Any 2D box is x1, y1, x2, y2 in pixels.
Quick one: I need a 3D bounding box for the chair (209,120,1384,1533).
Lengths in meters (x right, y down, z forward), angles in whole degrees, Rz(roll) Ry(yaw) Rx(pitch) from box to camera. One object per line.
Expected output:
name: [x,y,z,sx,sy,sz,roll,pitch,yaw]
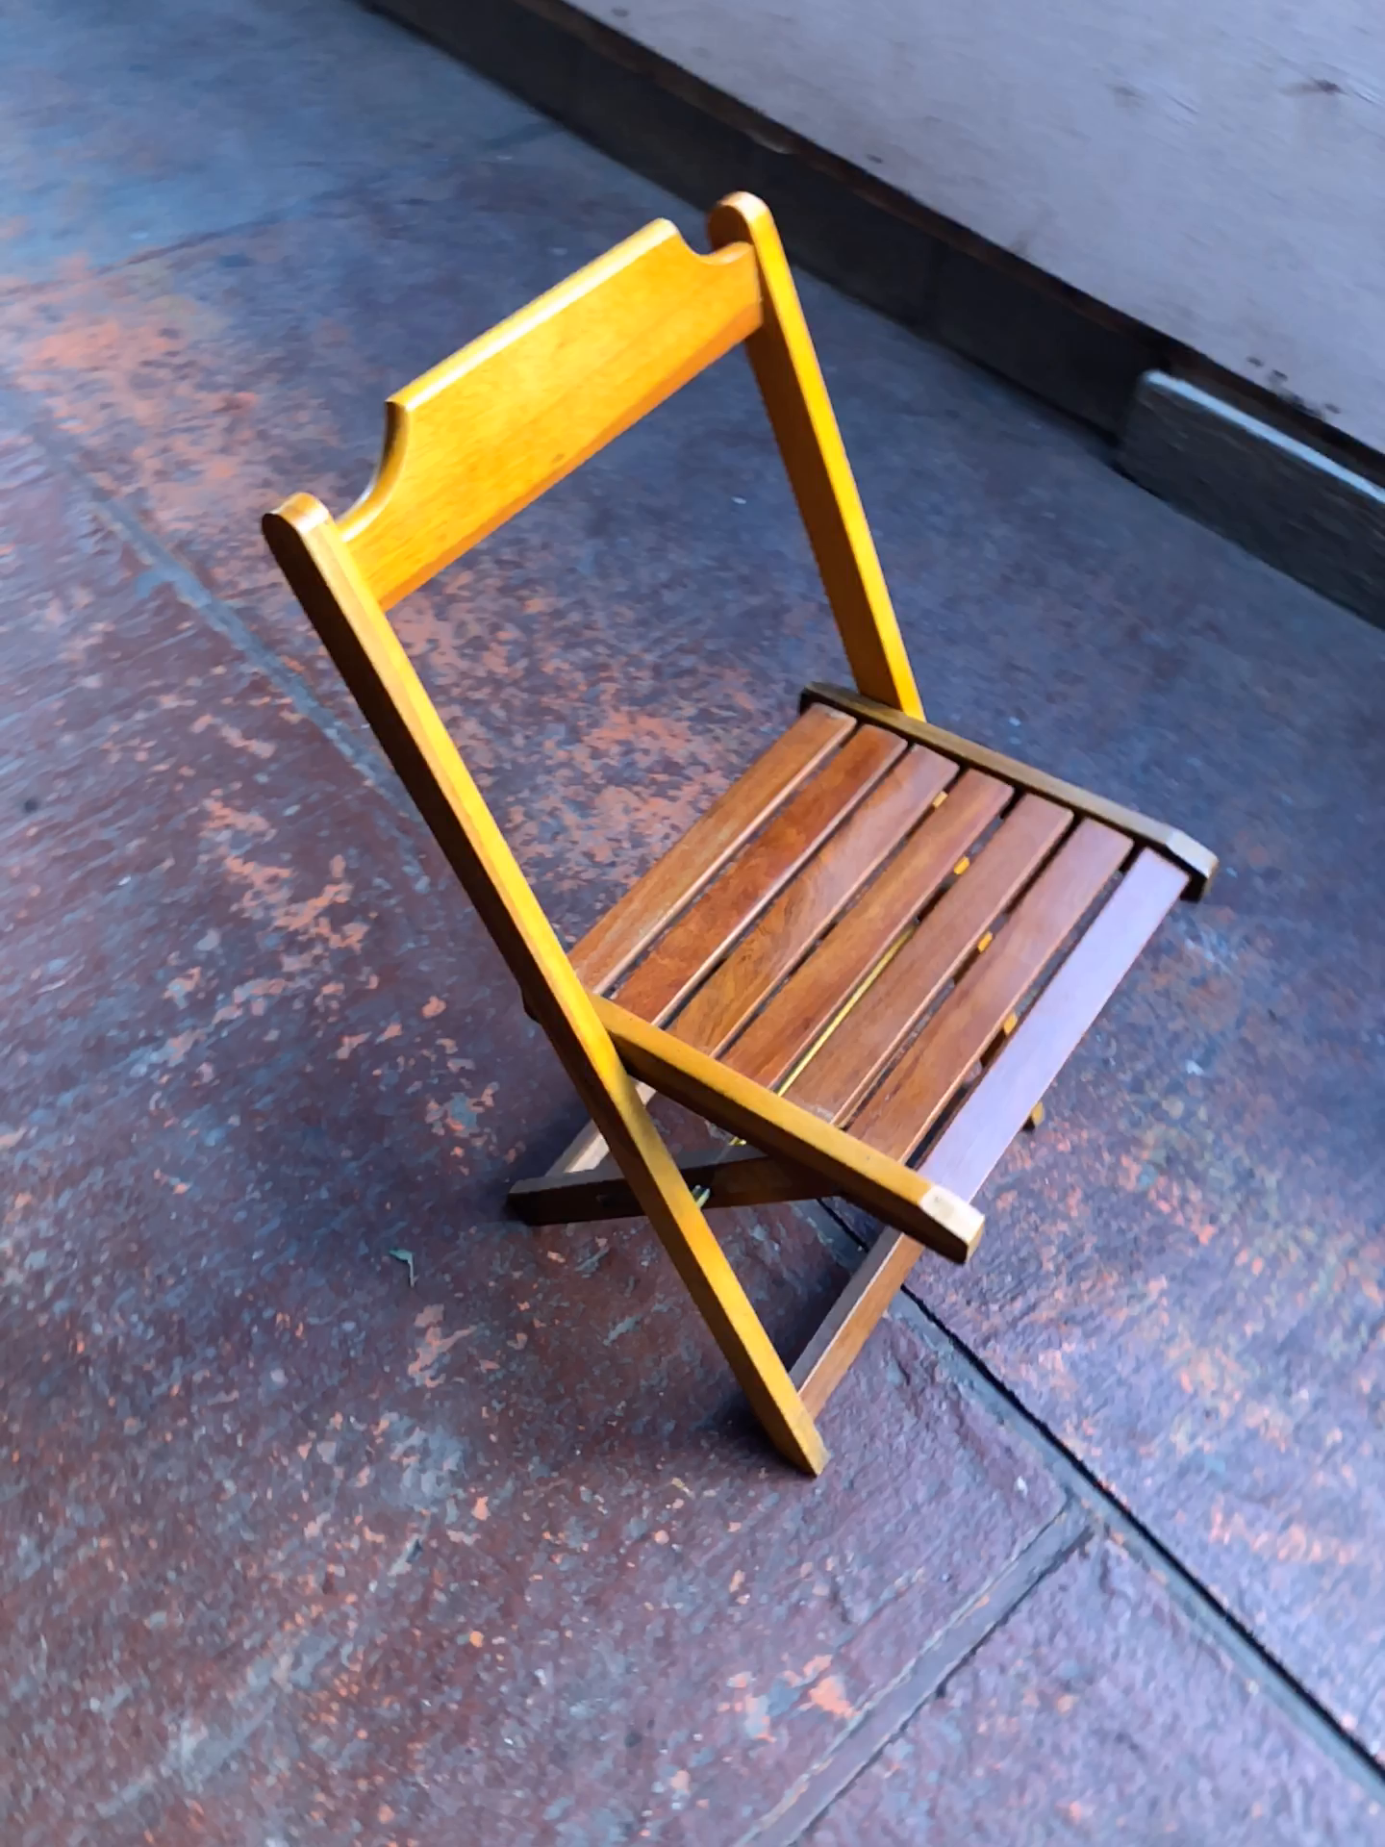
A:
chair: [0.071,-0.030,1.050,0.471,0.736,0.452,28,54,18]
